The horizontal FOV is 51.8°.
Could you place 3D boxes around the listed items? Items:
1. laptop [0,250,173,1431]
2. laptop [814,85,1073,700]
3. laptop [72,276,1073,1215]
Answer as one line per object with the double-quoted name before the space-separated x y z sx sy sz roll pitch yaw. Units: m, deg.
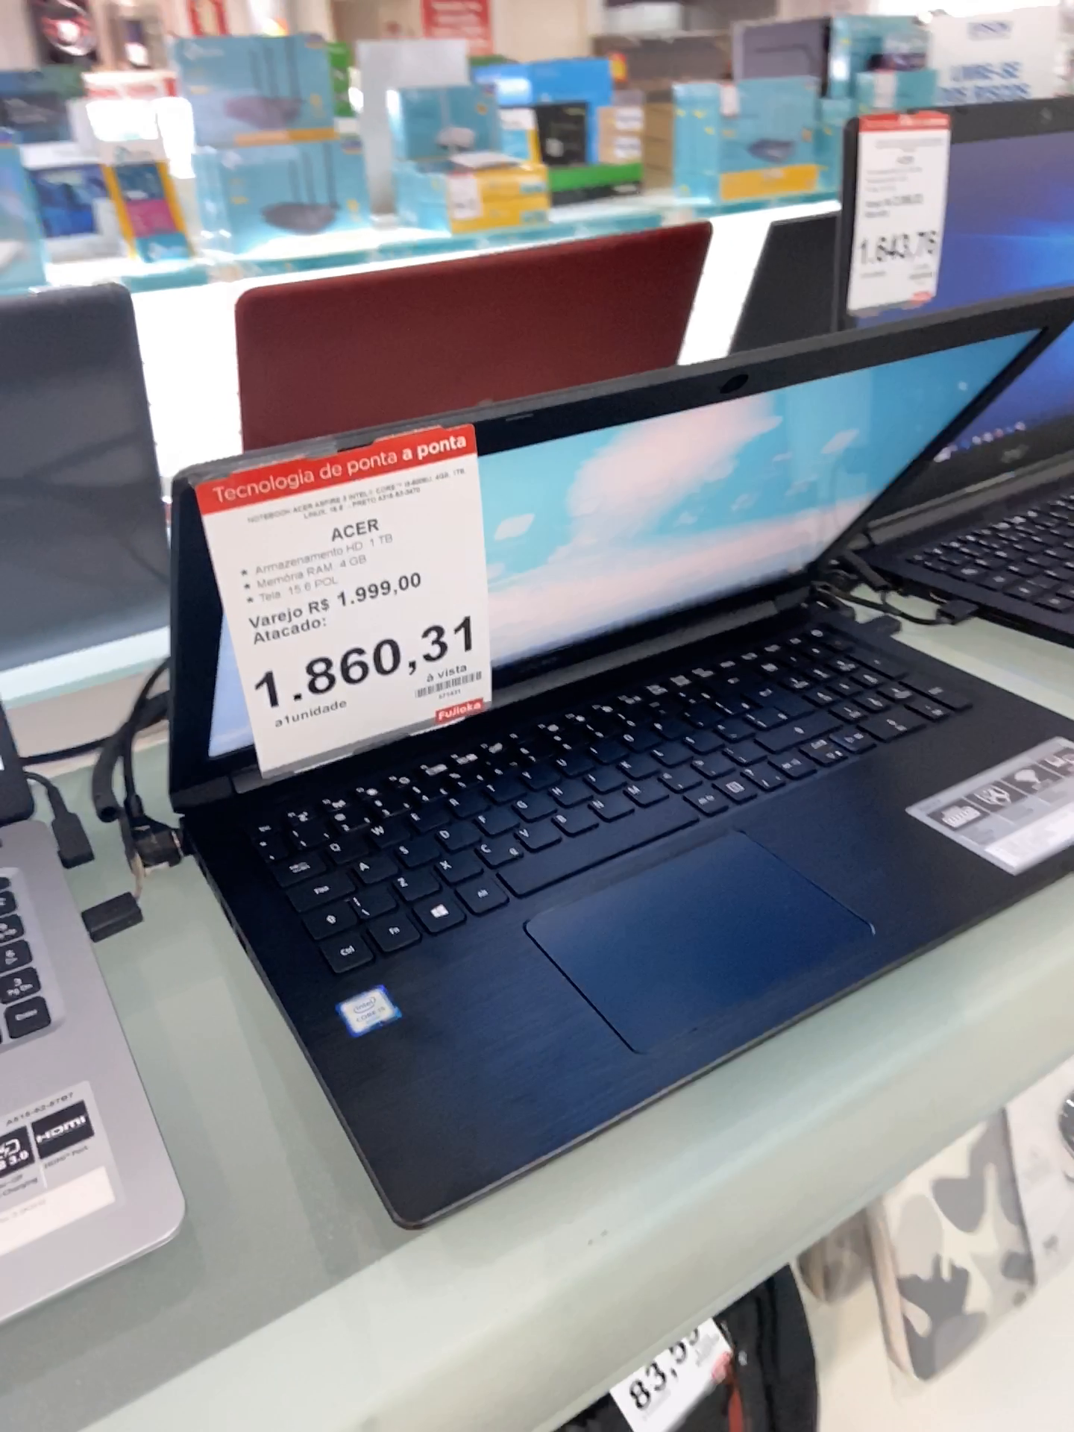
"laptop" -0.356 0.039 0.292 0.396 0.233 0.303 -19 32 -24
"laptop" 0.423 -0.241 0.687 0.432 0.246 0.285 -21 33 -29
"laptop" 0.057 -0.041 0.436 0.374 0.186 0.234 -19 32 -25
